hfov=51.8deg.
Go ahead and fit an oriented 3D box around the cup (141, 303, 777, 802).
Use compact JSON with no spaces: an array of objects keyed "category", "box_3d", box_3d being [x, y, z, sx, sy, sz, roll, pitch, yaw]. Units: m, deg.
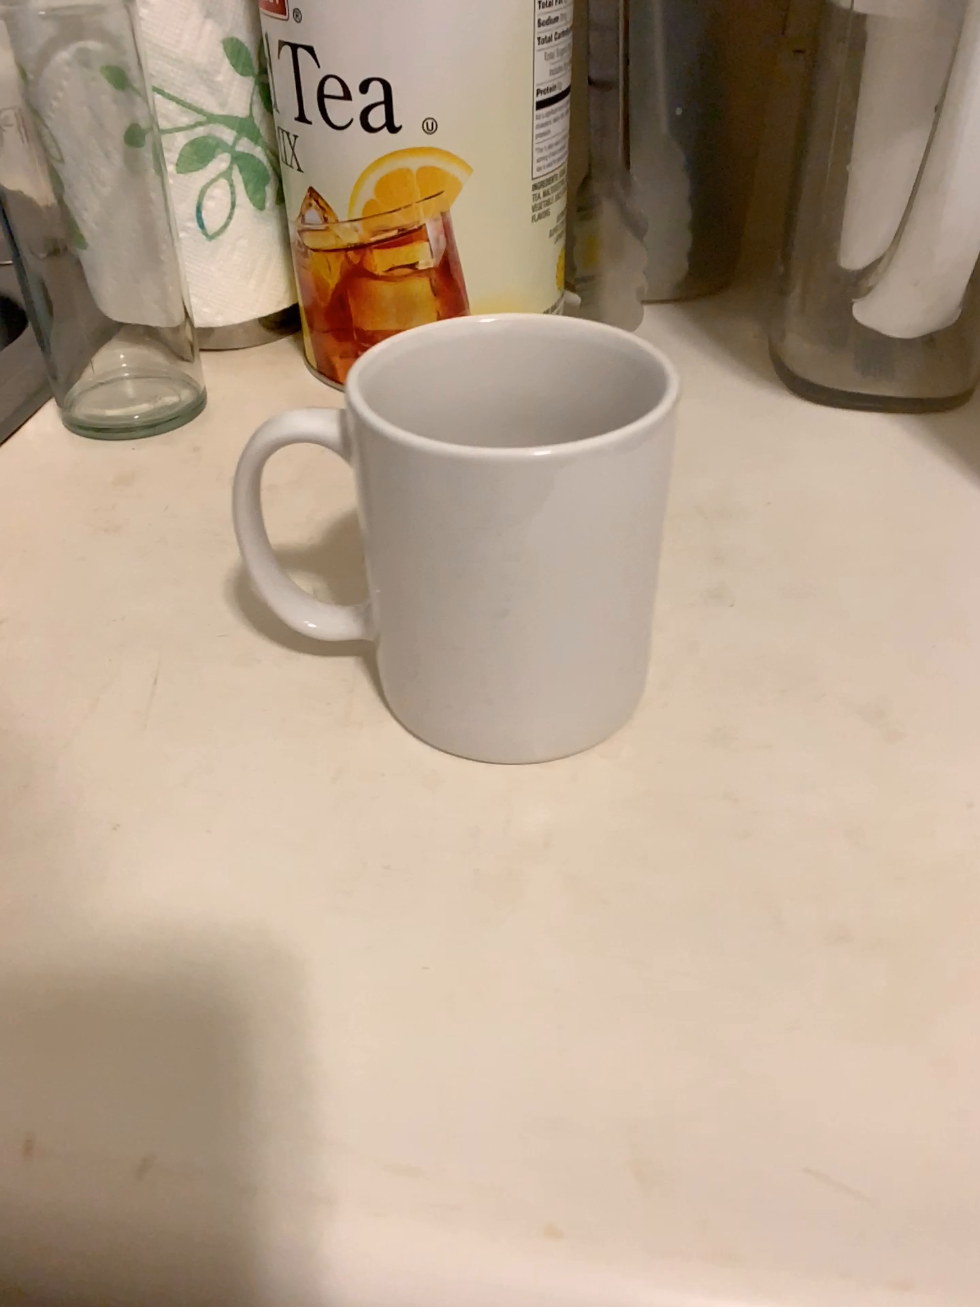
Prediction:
[{"category":"cup","box_3d":[-0.006,-0.030,0.292,0.140,0.109,0.091,1,39,1]}]
